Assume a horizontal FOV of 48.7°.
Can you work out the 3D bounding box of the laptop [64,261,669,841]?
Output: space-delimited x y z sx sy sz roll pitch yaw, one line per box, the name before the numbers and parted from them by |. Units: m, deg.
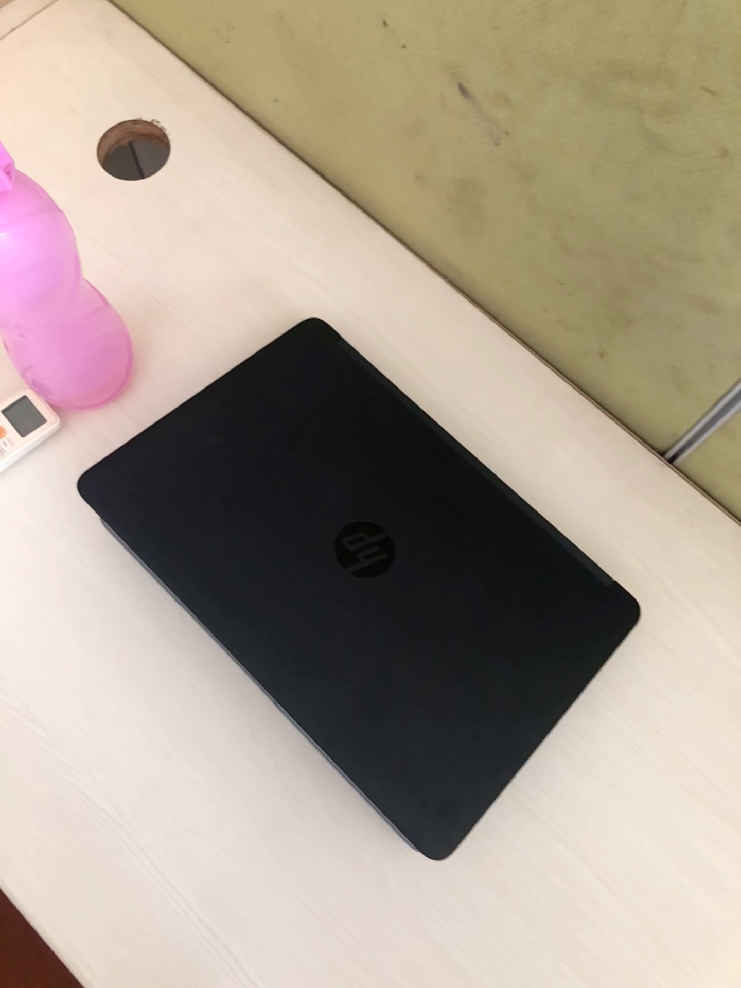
laptop | -0.008 0.025 0.560 0.226 0.050 0.330 -43 78 -12
